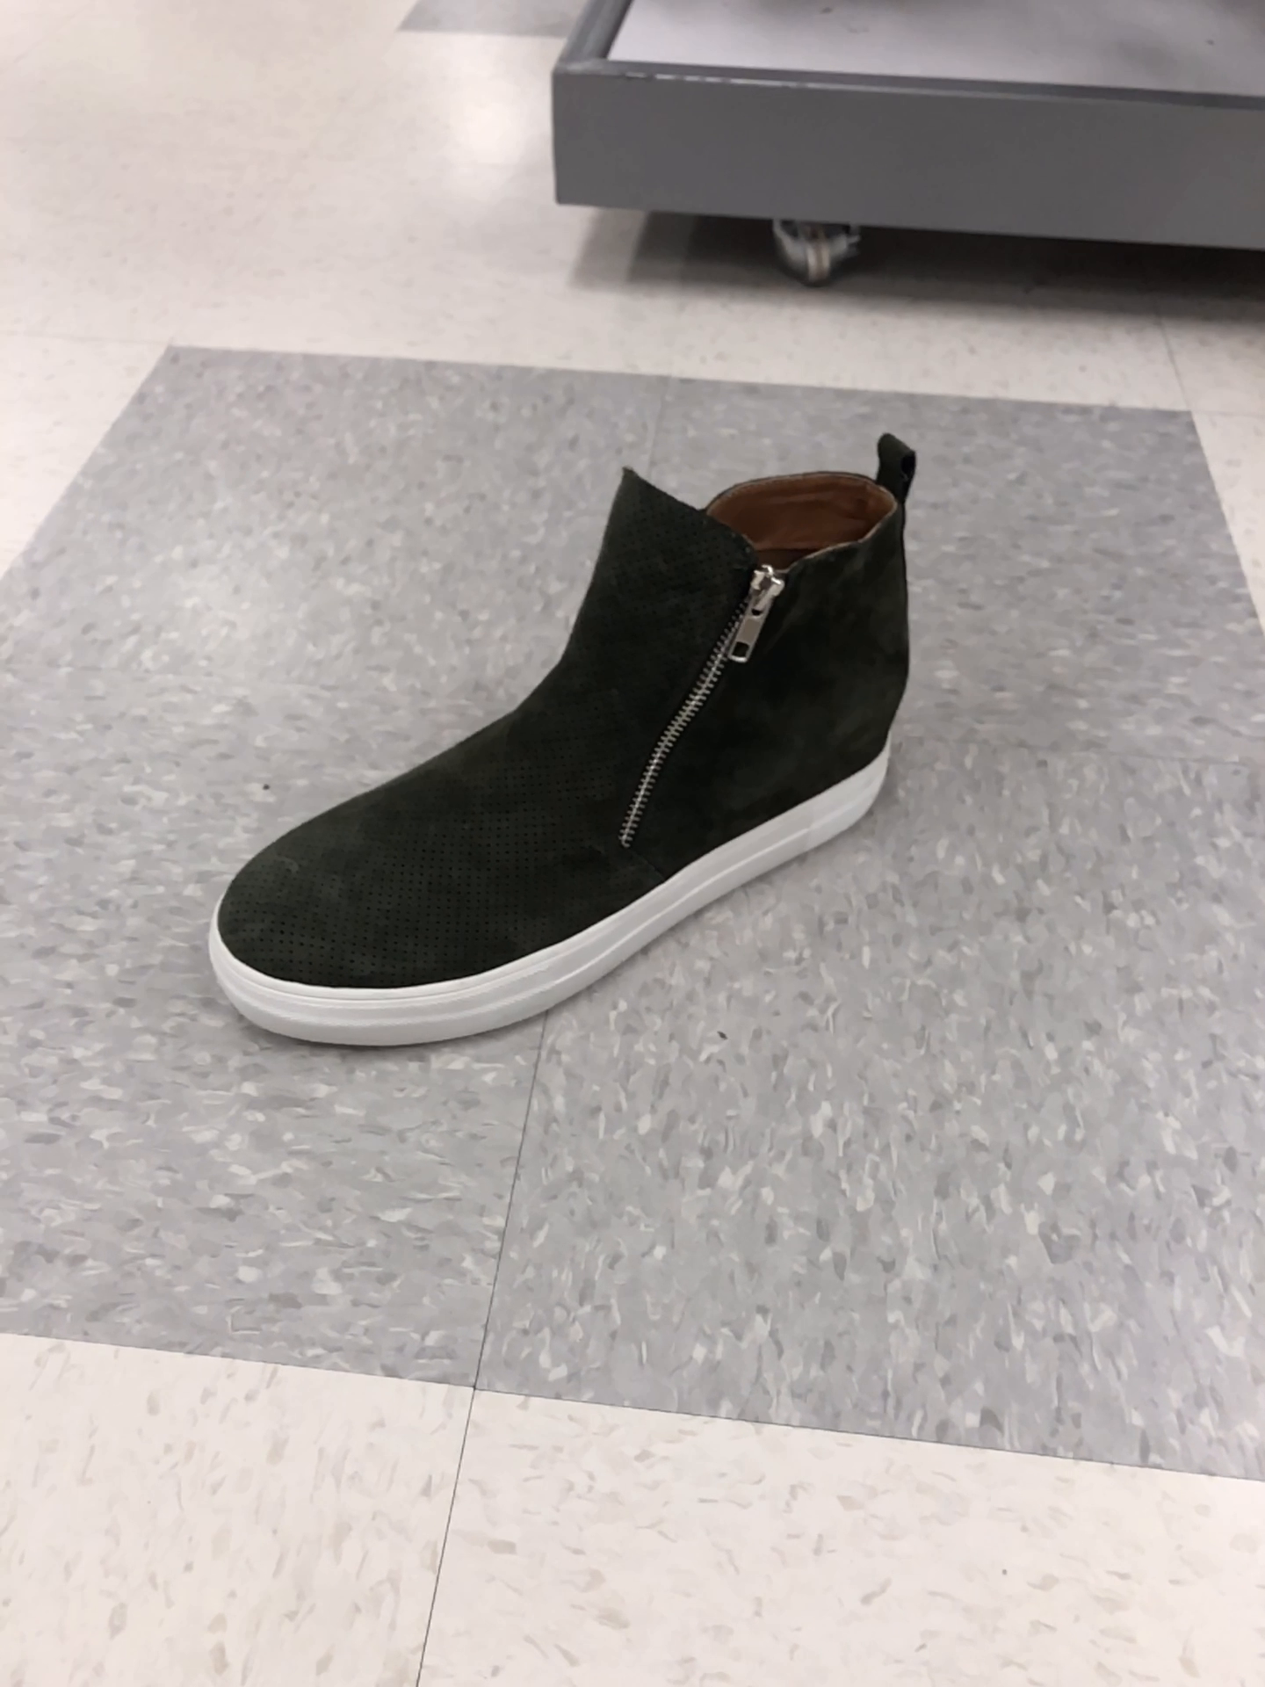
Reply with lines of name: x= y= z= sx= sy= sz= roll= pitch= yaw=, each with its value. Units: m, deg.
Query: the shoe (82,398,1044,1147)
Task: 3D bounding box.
shoe: x=-0.016 y=-0.034 z=0.499 sx=0.292 sy=0.141 sz=0.109 roll=-22 pitch=50 yaw=-21
